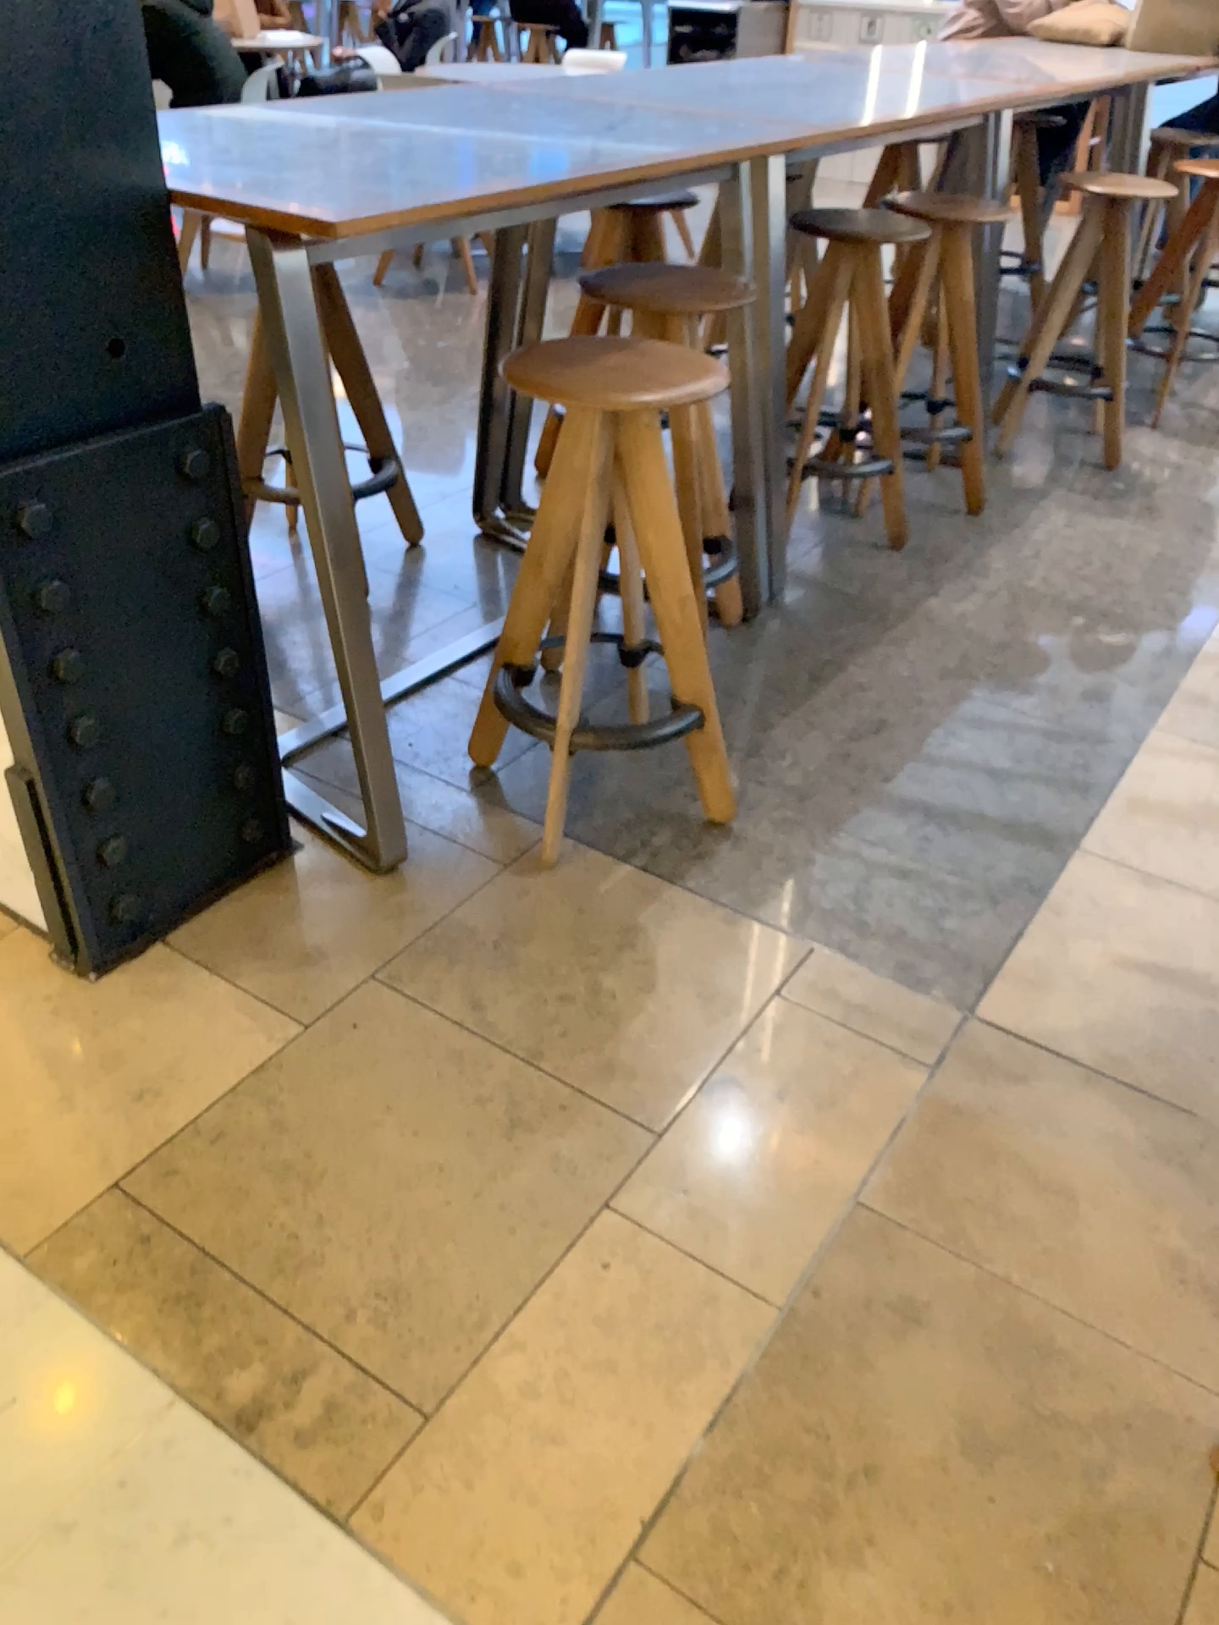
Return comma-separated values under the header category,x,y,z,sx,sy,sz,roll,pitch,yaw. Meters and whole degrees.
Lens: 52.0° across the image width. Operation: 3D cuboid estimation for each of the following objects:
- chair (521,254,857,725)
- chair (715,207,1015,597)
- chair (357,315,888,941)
category,x,y,z,sx,sy,sz,roll,pitch,yaw
chair,0.137,-0.637,2.426,0.424,0.706,0.466,22,39,26
chair,0.582,-0.969,2.921,0.434,0.706,0.476,22,39,26
chair,0.018,-0.318,1.973,0.554,0.706,0.536,22,39,26
